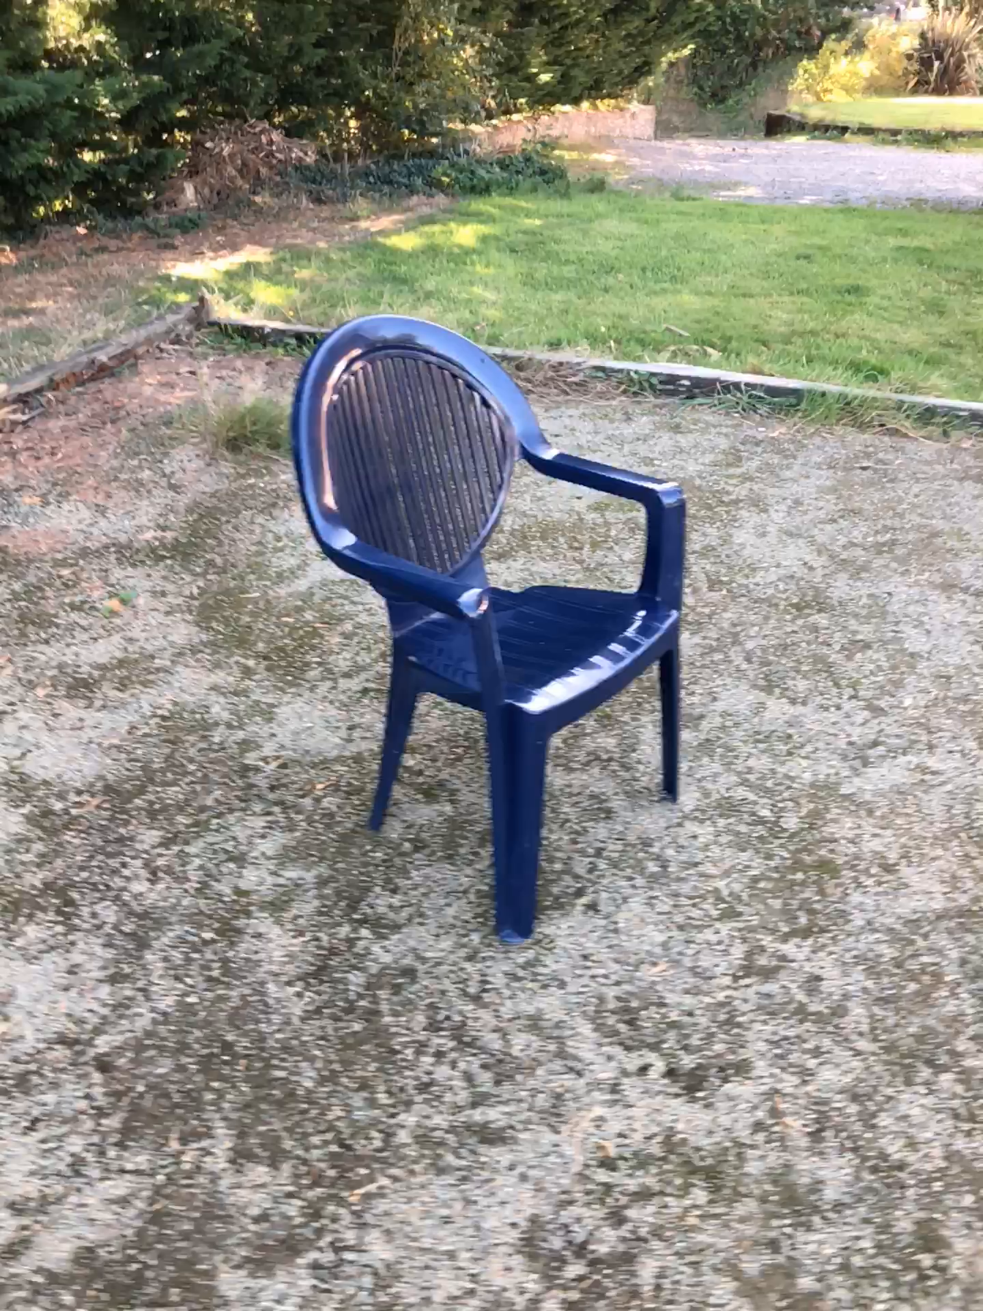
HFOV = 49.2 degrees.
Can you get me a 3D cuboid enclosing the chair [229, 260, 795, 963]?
[{"bbox_3d":[0.040,-0.116,1.754,0.570,0.855,0.594,22,37,31],"label":"chair"}]
